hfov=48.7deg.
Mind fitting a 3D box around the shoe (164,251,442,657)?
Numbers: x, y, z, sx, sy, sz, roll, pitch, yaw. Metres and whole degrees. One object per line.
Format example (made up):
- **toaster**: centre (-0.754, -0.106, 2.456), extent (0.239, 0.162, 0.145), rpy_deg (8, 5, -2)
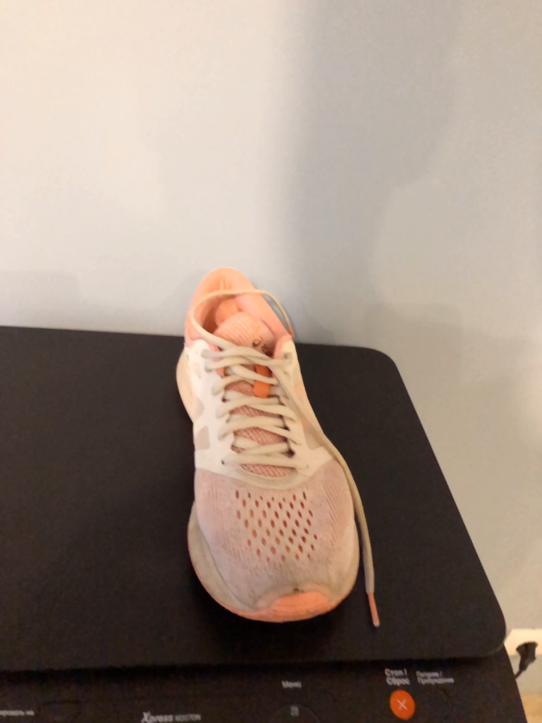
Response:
- **shoe**: centre (-0.006, 0.033, 0.379), extent (0.116, 0.089, 0.255), rpy_deg (1, 37, -12)
